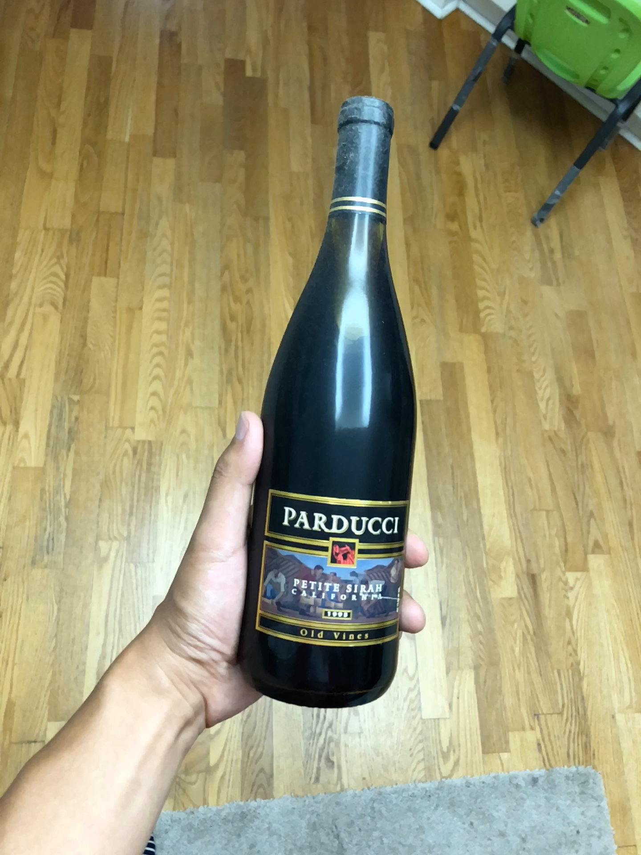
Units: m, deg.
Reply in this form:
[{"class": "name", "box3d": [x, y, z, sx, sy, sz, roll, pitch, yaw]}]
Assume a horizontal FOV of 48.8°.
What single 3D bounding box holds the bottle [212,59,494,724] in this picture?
[{"class": "bottle", "box3d": [0.009, -0.011, 0.341, 0.090, 0.070, 0.280, 6, 94, -9]}]
